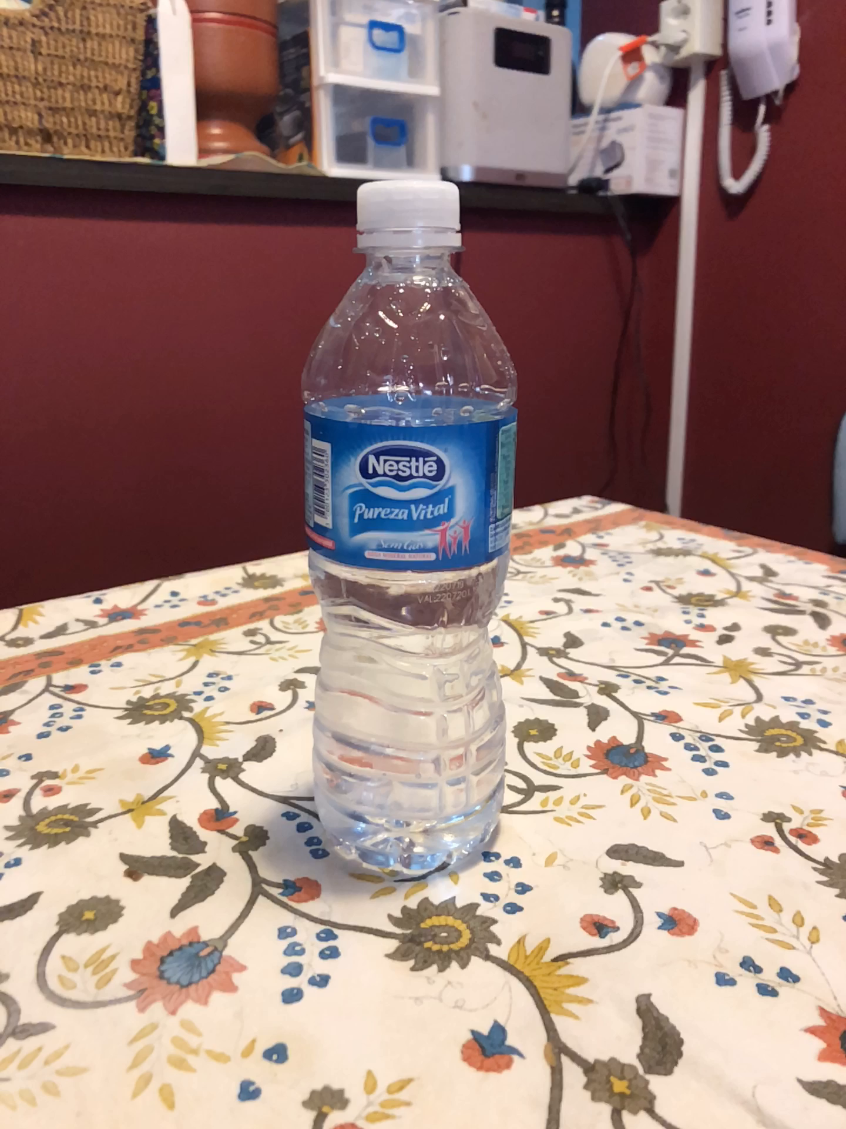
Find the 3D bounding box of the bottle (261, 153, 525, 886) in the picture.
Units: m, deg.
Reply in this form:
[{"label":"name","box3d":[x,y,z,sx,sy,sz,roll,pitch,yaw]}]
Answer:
[{"label":"bottle","box3d":[-0.005,-0.012,0.272,0.060,0.189,0.070,-1,15,0]}]
